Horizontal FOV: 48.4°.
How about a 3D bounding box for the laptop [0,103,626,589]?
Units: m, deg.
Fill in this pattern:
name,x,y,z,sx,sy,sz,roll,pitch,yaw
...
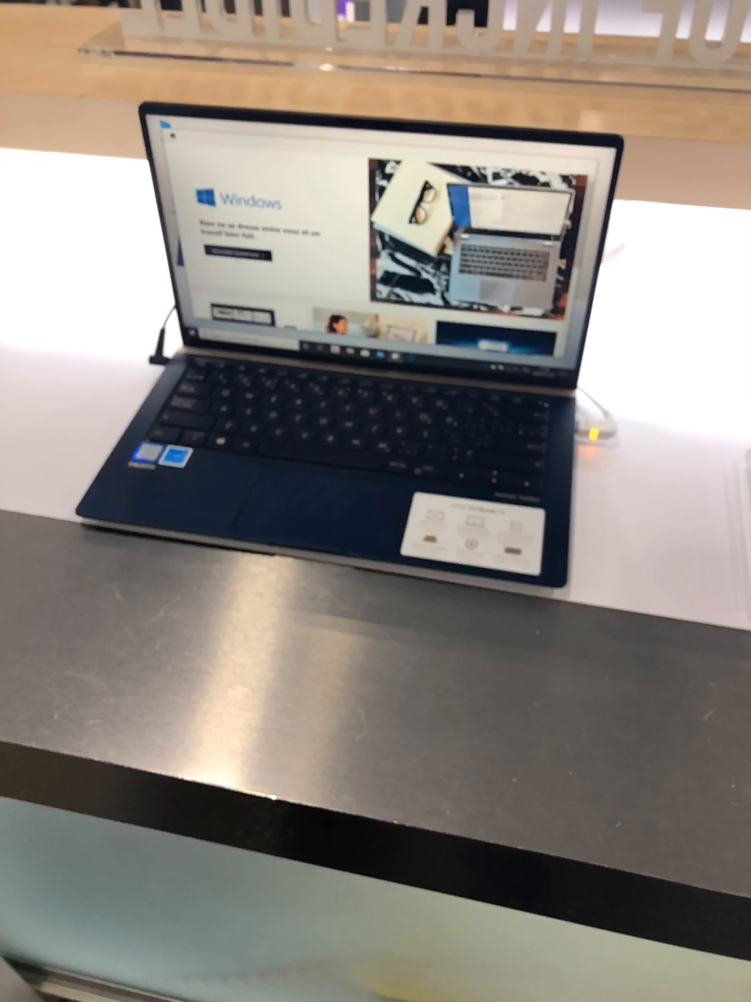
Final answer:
name,x,y,z,sx,sy,sz,roll,pitch,yaw
laptop,-0.023,-0.100,0.503,0.301,0.182,0.191,8,44,8
